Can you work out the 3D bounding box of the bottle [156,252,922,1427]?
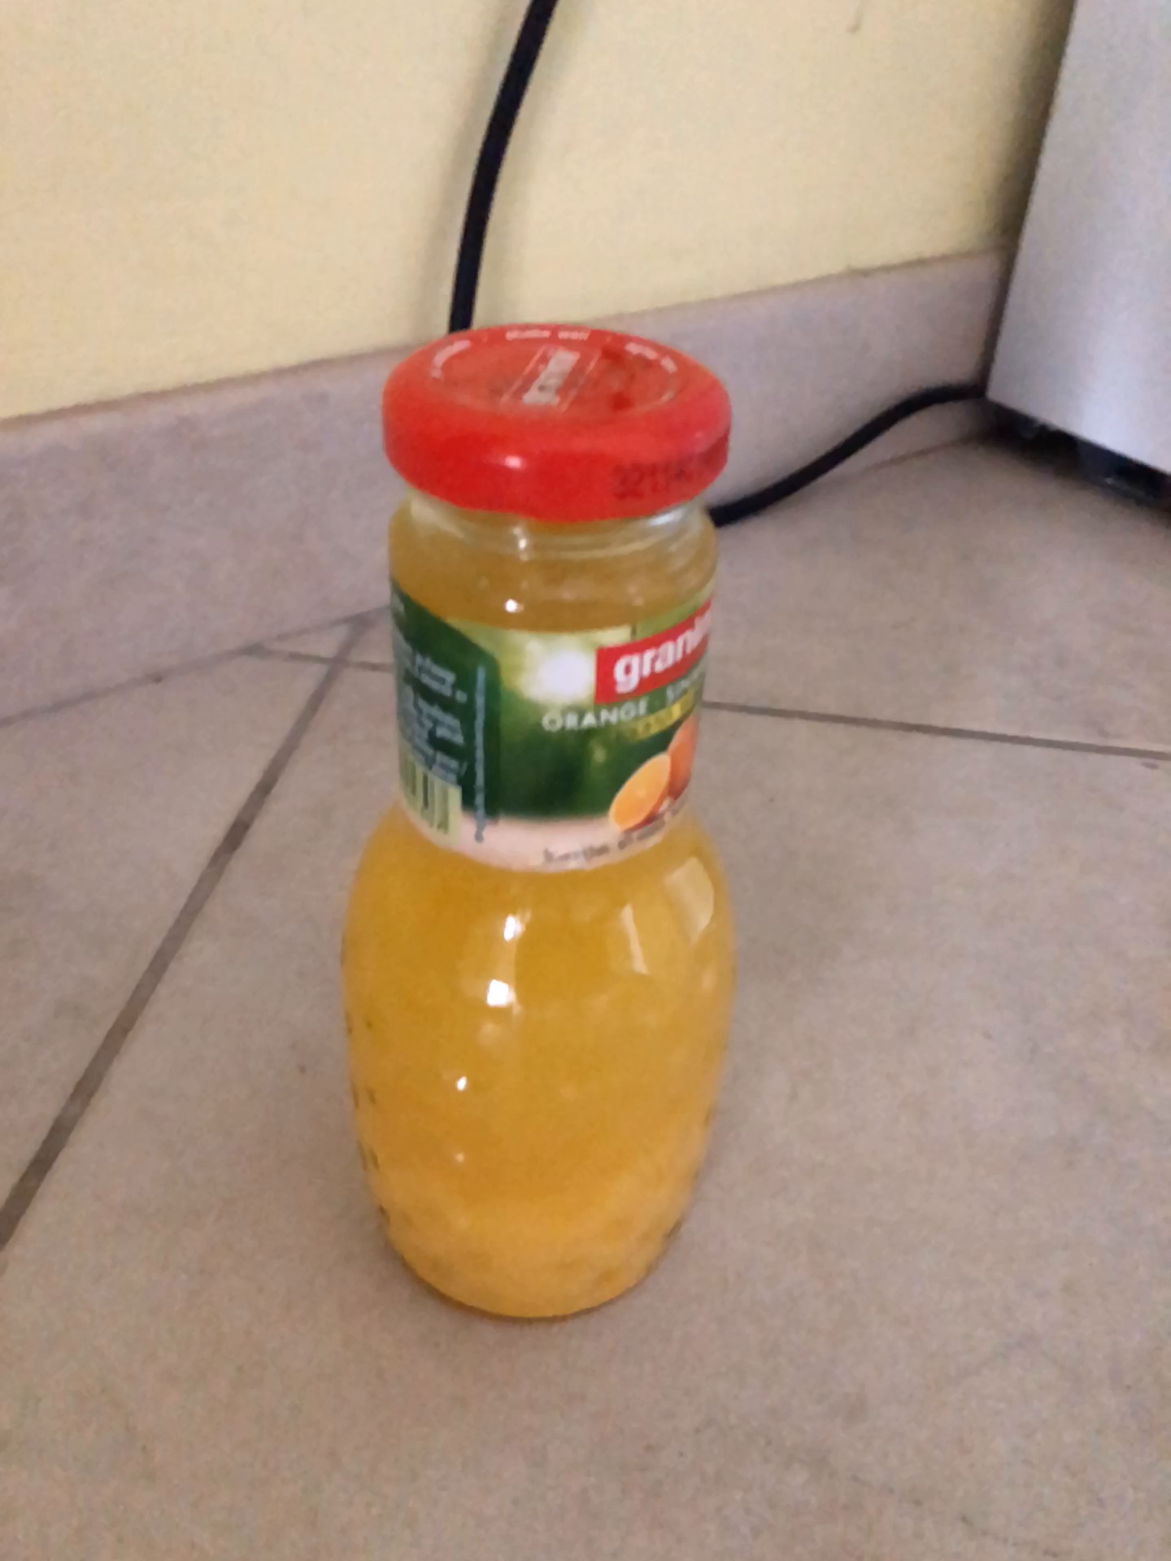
[{"bbox_3d":[-0.008,0.013,0.202,0.060,0.159,0.070,28,42,29],"label":"bottle"}]
